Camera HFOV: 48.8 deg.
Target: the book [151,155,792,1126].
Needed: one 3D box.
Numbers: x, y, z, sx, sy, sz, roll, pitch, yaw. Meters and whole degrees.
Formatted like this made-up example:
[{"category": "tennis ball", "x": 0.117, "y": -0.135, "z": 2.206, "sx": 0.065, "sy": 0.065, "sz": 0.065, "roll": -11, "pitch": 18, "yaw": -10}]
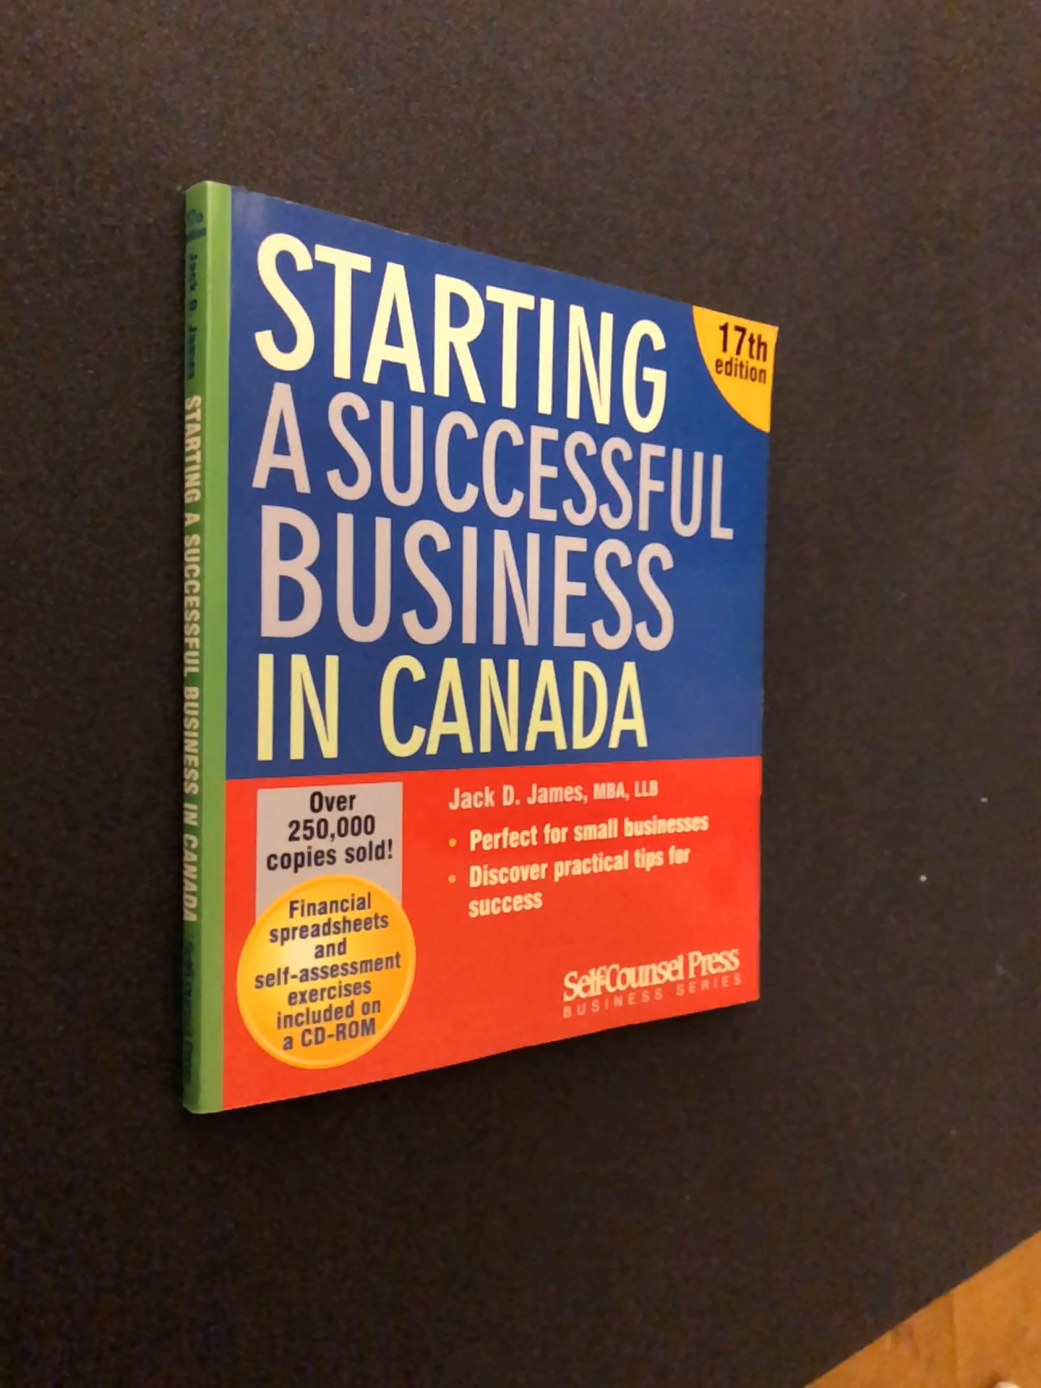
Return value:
[{"category": "book", "x": -0.004, "y": -0.012, "z": 0.368, "sx": 0.211, "sy": 0.040, "sz": 0.247, "roll": 1, "pitch": 91, "yaw": -34}]
